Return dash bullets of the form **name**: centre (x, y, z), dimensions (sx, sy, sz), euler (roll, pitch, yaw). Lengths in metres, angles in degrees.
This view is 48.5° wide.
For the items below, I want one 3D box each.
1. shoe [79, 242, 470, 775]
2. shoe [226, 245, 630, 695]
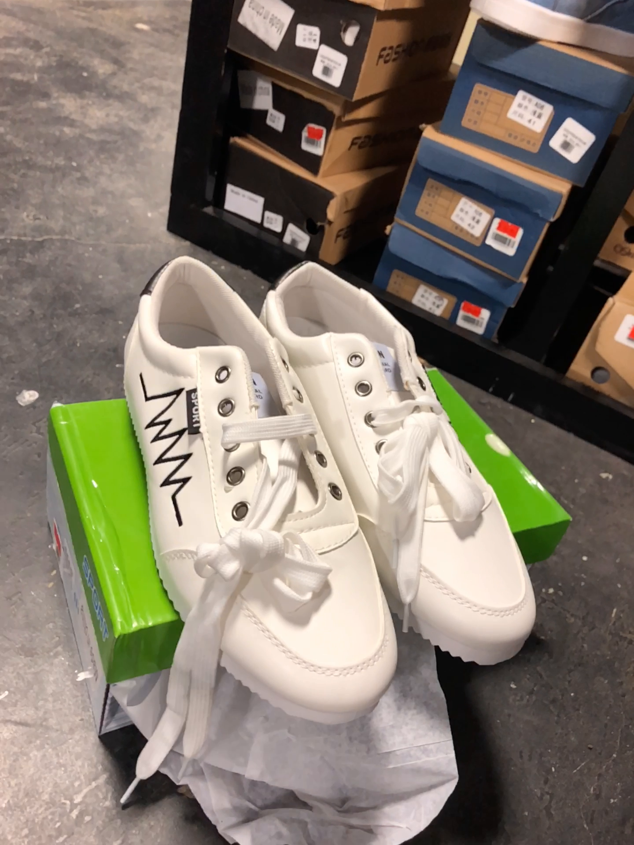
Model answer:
- **shoe**: centre (-0.047, 0.013, 0.365), dimensions (0.090, 0.079, 0.282), euler (-11, 45, -24)
- **shoe**: centre (0.038, 0.001, 0.418), dimensions (0.090, 0.079, 0.282), euler (-11, 45, -24)
